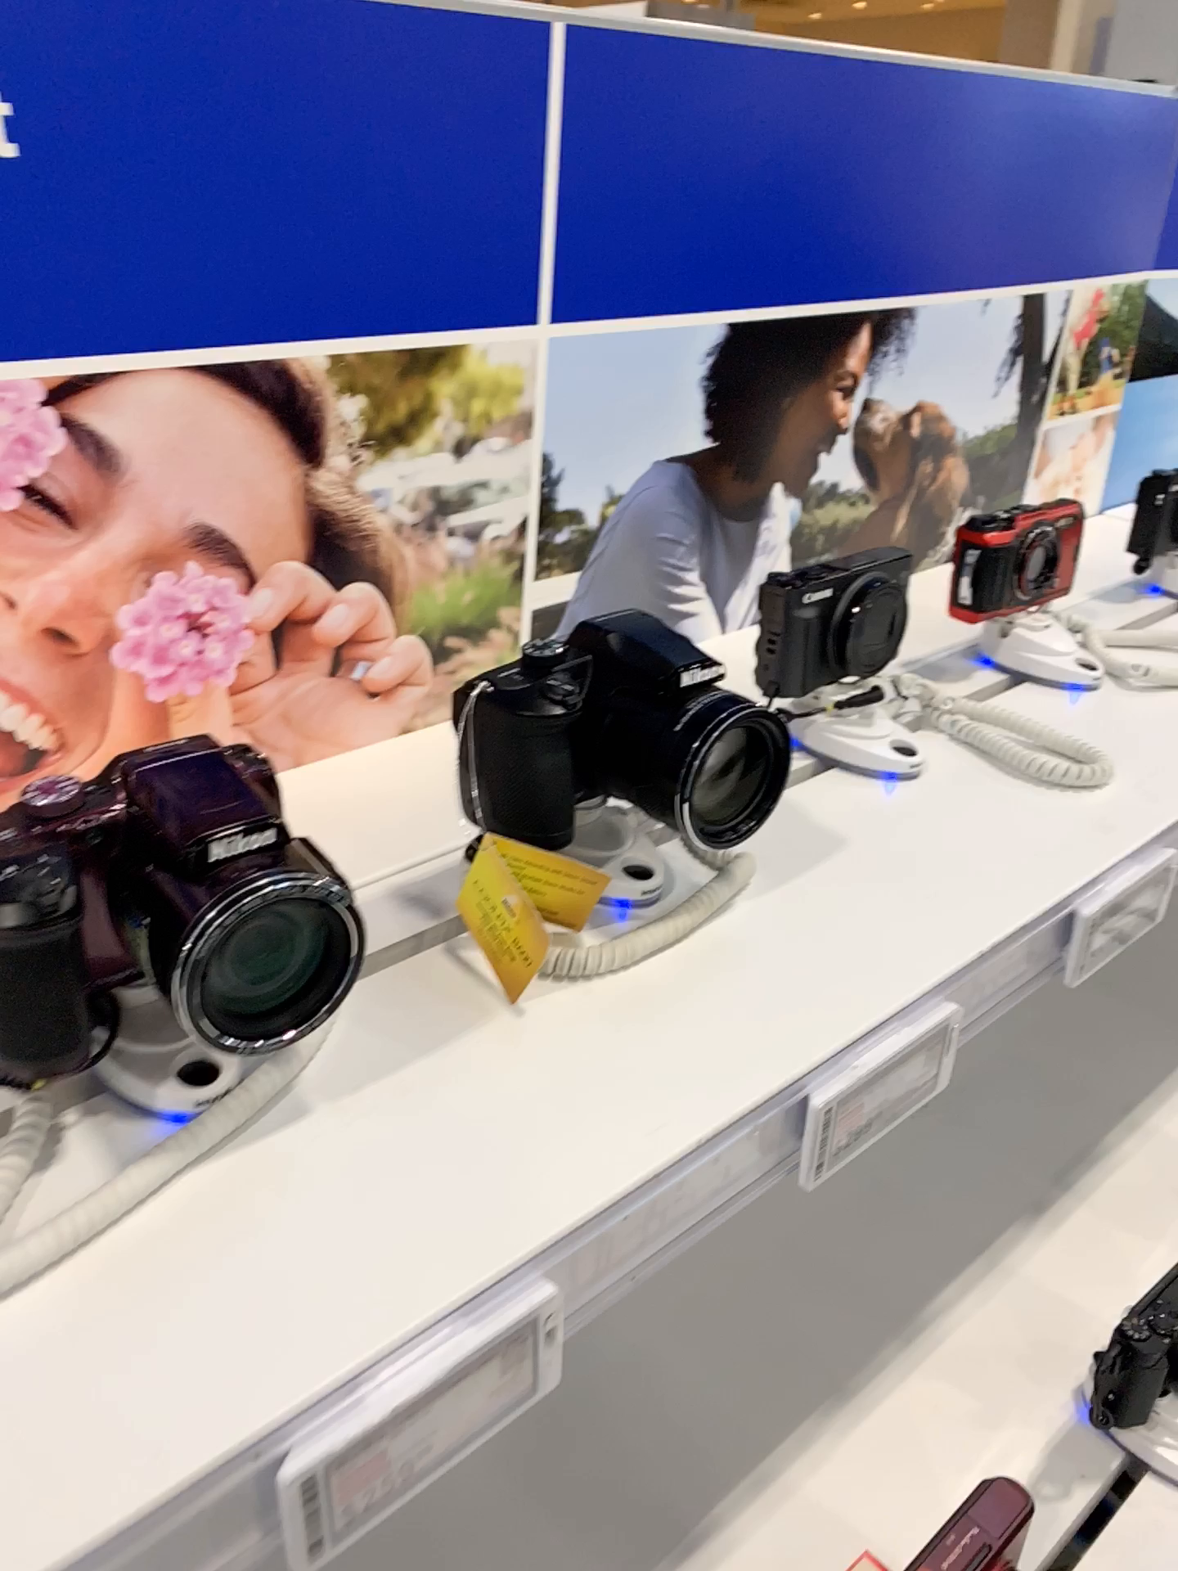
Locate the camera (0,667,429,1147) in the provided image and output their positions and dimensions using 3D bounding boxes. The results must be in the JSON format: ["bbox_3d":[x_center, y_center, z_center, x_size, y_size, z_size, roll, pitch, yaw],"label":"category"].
[{"bbox_3d":[-0.140,0.029,0.402,0.130,0.080,0.110,-20,34,-36],"label":"camera"}]

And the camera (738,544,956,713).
[{"bbox_3d":[0.146,-0.091,0.684,0.120,0.060,0.050,-20,34,-36],"label":"camera"}]

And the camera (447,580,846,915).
[{"bbox_3d":[0.022,-0.024,0.512,0.120,0.080,0.110,-20,34,-36],"label":"camera"}]

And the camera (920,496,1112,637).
[{"bbox_3d":[0.282,-0.147,0.799,0.130,0.060,0.050,-20,34,-36],"label":"camera"}]

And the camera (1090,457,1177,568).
[{"bbox_3d":[0.448,-0.214,0.945,0.110,0.060,0.050,-20,34,-36],"label":"camera"}]
